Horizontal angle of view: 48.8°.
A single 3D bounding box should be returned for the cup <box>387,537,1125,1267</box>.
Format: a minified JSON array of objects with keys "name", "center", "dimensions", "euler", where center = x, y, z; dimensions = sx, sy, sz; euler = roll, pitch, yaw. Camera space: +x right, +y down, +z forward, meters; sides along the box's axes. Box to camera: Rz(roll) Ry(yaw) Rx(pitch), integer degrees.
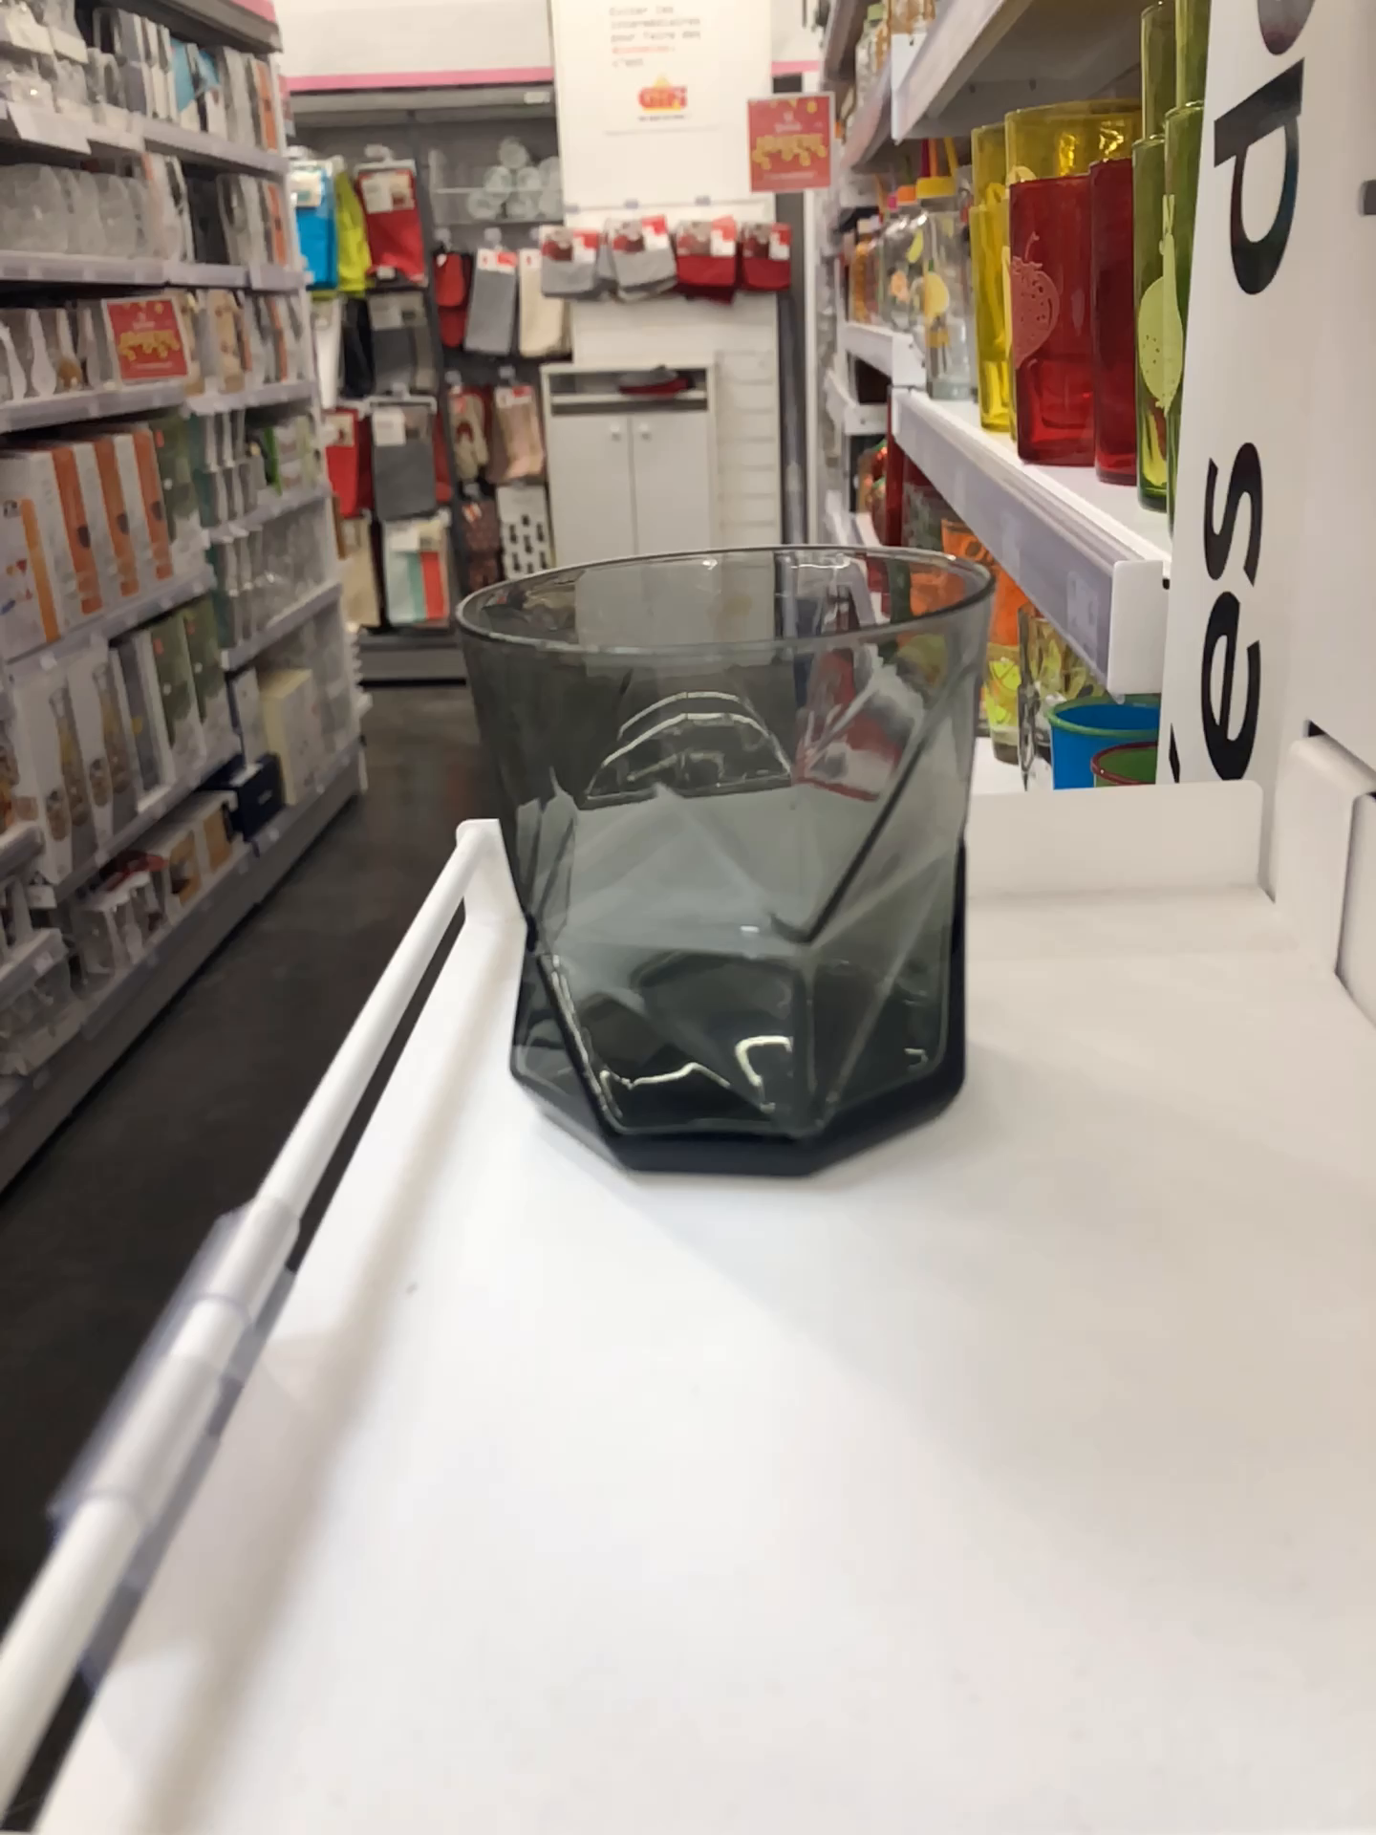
[{"name":"cup","center":[0.006,-0.012,0.252],"dimensions":[0.089,0.080,0.094],"euler":[-3,22,1]}]
